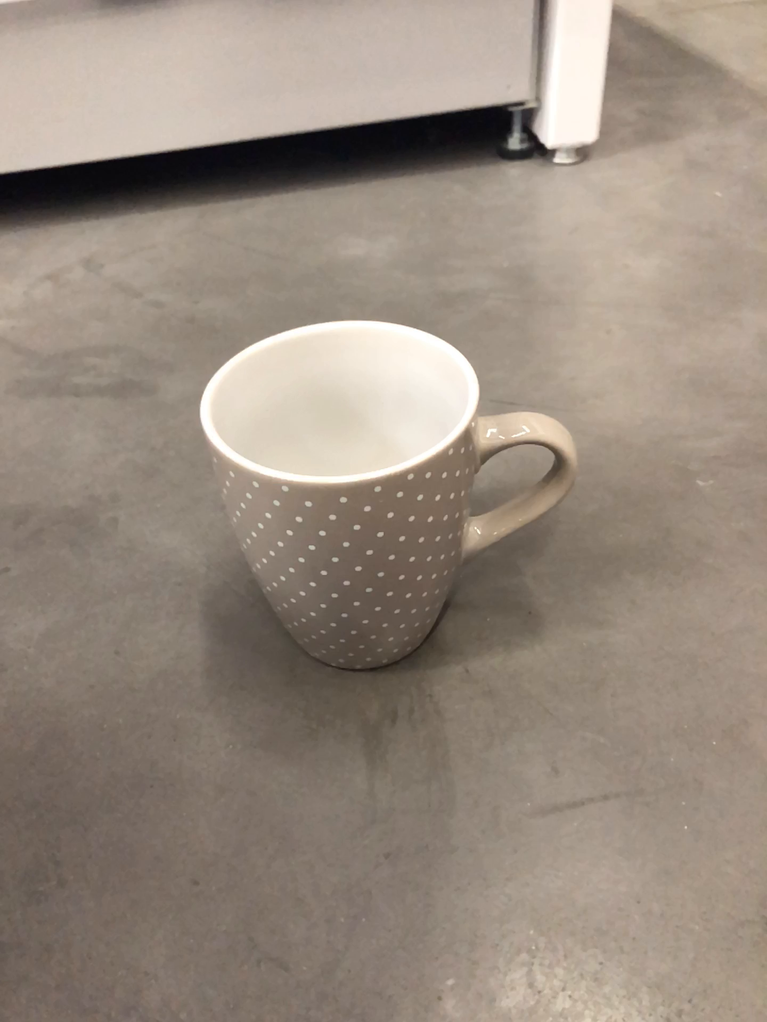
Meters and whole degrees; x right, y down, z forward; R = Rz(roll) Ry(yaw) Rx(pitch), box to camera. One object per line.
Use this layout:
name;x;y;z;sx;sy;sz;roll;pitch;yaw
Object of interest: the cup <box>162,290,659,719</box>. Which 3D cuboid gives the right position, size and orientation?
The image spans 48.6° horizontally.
cup;0.007;-0.003;0.309;0.141;0.107;0.092;-7;42;-2
